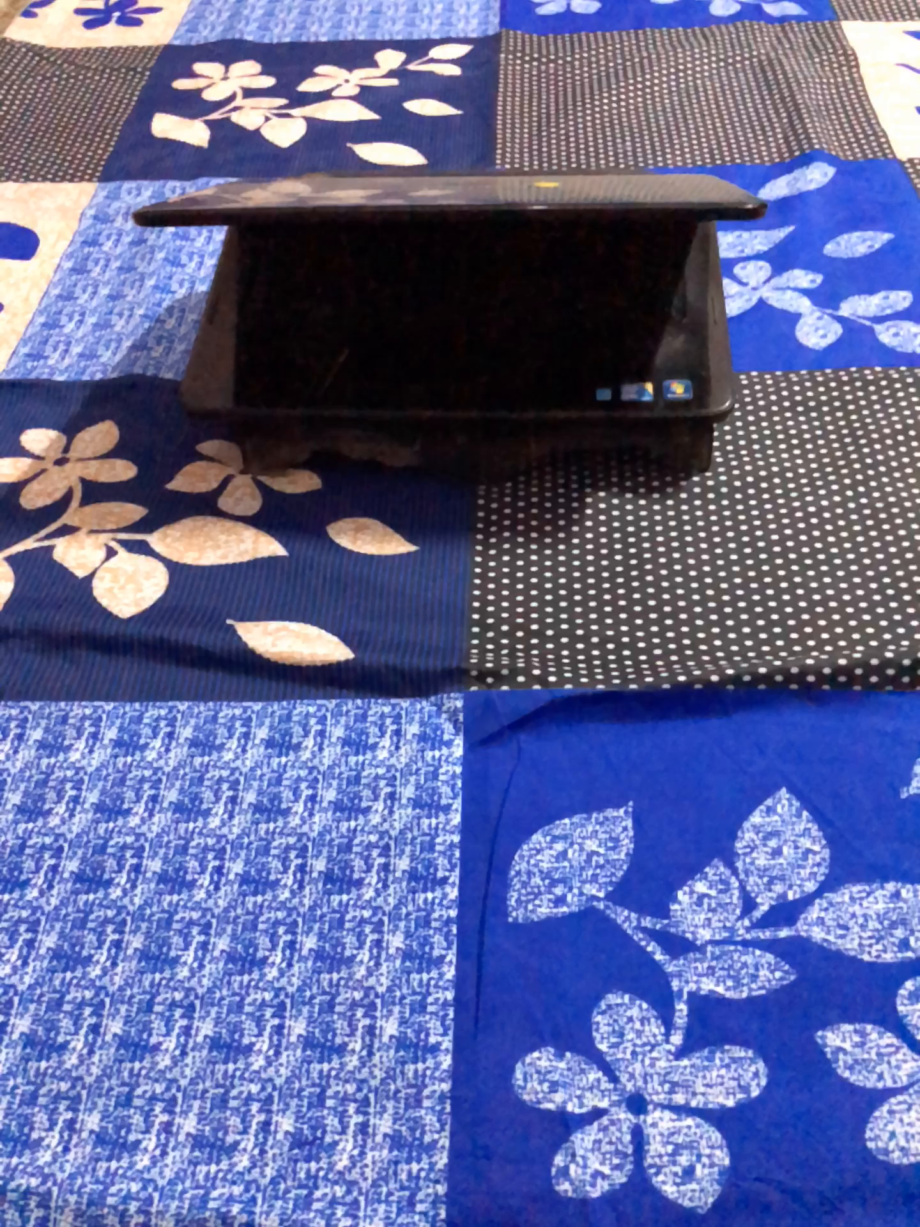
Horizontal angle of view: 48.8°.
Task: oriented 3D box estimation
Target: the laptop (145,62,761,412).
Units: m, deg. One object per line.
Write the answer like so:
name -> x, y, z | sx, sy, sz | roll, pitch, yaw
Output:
laptop -> 0.001, -0.264, 0.694 | 0.362, 0.092, 0.237 | 2, 56, 4
